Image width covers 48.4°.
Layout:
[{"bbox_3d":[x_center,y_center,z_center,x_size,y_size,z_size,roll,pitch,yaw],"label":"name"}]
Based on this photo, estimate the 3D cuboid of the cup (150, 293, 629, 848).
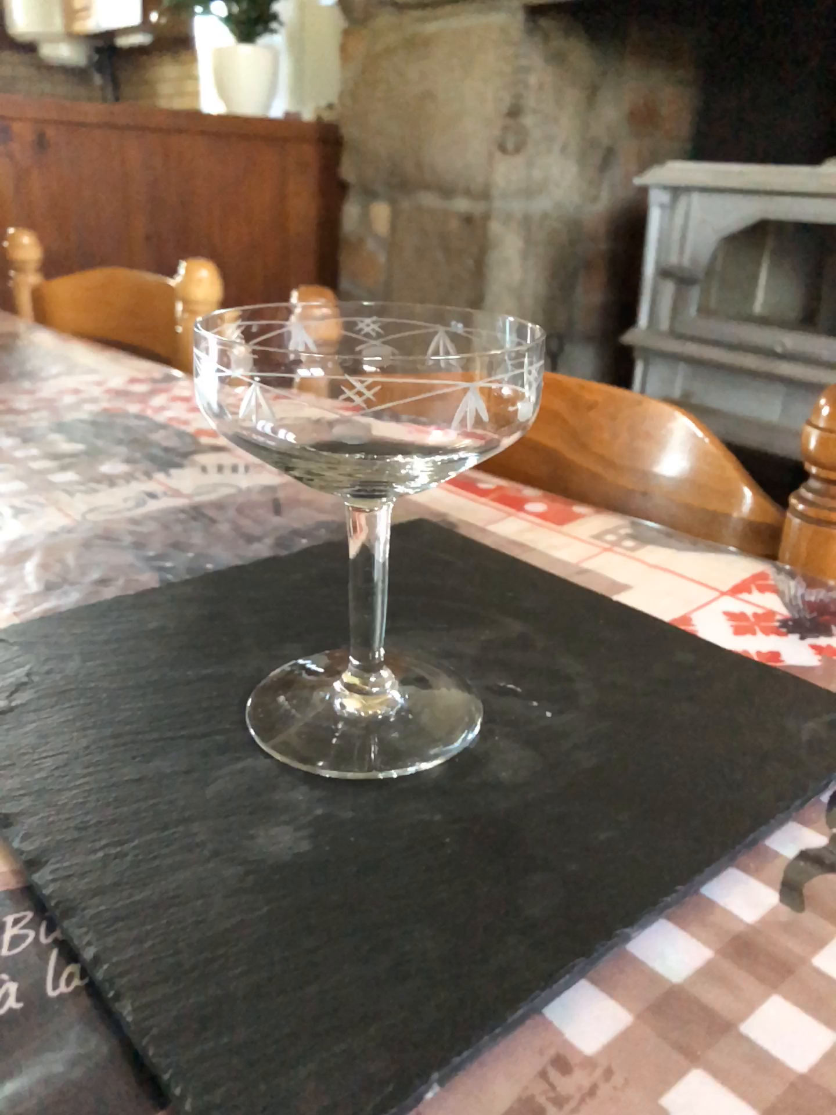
[{"bbox_3d":[-0.008,-0.007,0.269,0.090,0.119,0.090,2,21,-1],"label":"cup"}]
